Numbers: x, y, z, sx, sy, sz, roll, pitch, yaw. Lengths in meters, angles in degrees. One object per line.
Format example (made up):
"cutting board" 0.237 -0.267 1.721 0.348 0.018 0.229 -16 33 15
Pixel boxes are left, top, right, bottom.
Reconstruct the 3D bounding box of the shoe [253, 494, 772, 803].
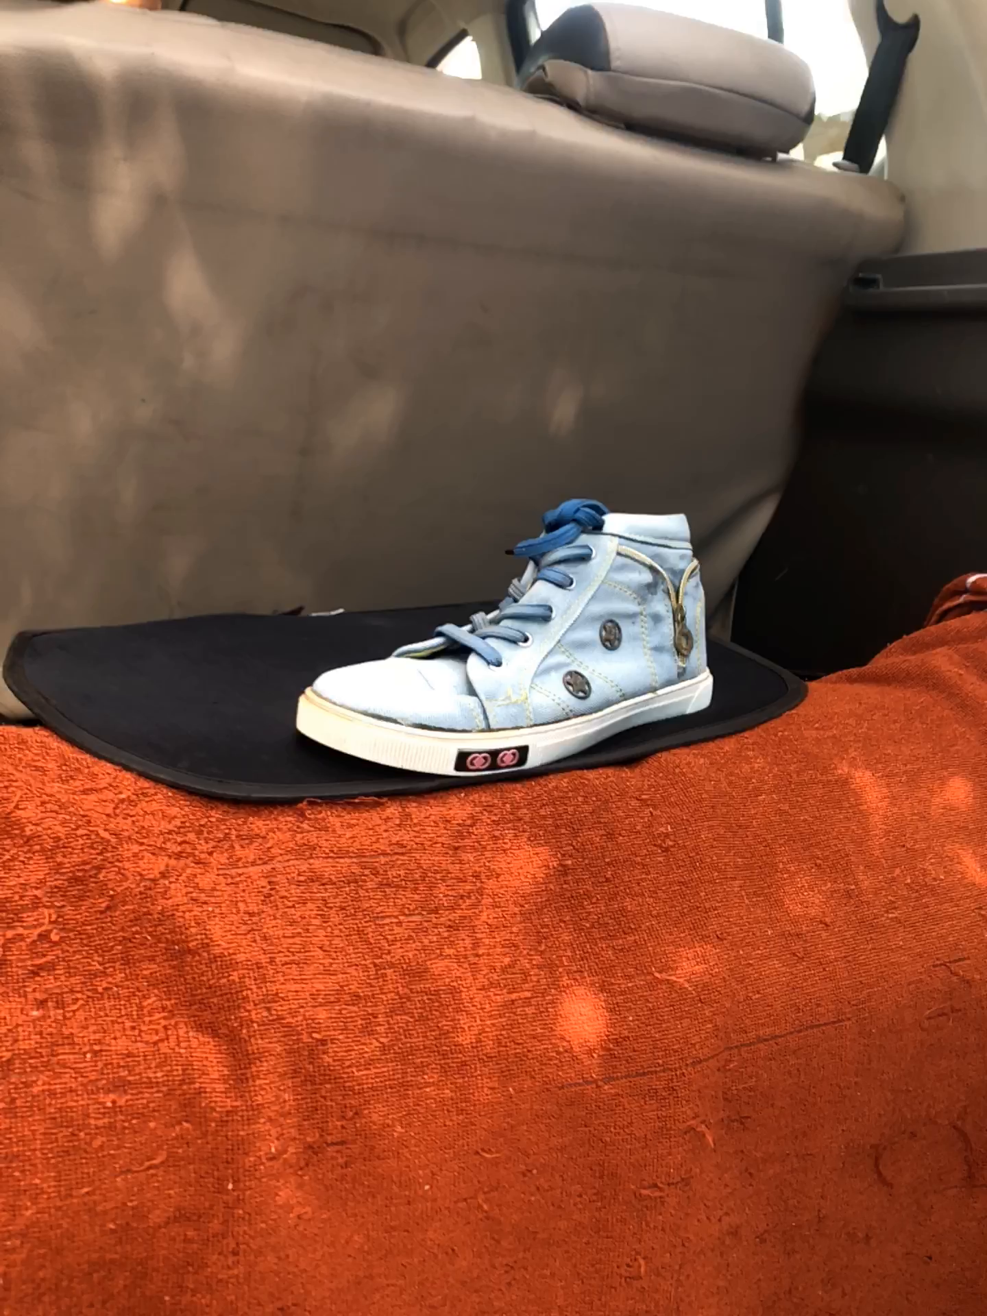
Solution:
"shoe" 0.019 -0.021 0.573 0.261 0.110 0.110 -9 21 -43
